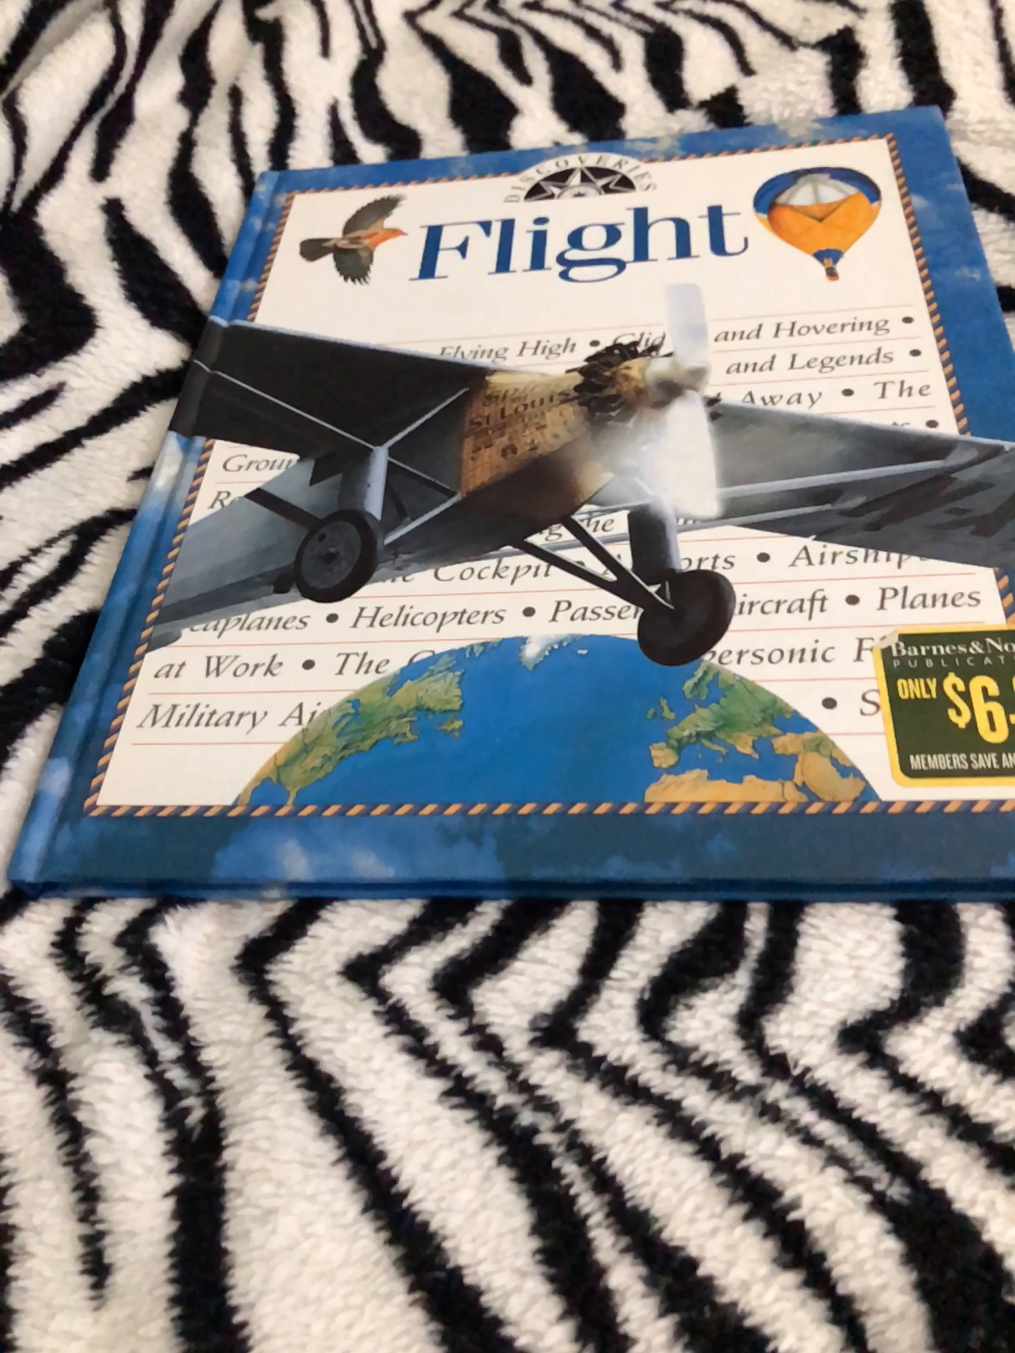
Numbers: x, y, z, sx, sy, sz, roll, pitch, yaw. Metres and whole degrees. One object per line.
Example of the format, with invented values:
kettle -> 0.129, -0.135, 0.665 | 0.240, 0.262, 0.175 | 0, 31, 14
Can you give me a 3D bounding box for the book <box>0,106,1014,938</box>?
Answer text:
book -> 0.013, -0.072, 0.329 | 0.258, 0.020, 0.302 | -1, 53, 7
